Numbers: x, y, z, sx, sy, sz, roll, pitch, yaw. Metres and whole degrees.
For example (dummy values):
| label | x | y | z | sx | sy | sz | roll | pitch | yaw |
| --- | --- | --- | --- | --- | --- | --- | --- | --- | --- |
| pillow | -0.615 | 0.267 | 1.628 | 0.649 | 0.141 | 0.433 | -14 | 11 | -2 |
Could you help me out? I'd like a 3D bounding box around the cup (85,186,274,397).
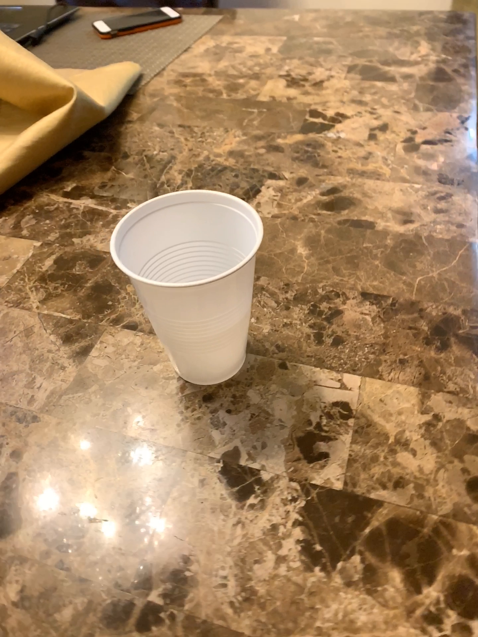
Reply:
| label | x | y | z | sx | sy | sz | roll | pitch | yaw |
| --- | --- | --- | --- | --- | --- | --- | --- | --- | --- |
| cup | -0.024 | -0.016 | 0.281 | 0.077 | 0.083 | 0.082 | -3 | 46 | 3 |
